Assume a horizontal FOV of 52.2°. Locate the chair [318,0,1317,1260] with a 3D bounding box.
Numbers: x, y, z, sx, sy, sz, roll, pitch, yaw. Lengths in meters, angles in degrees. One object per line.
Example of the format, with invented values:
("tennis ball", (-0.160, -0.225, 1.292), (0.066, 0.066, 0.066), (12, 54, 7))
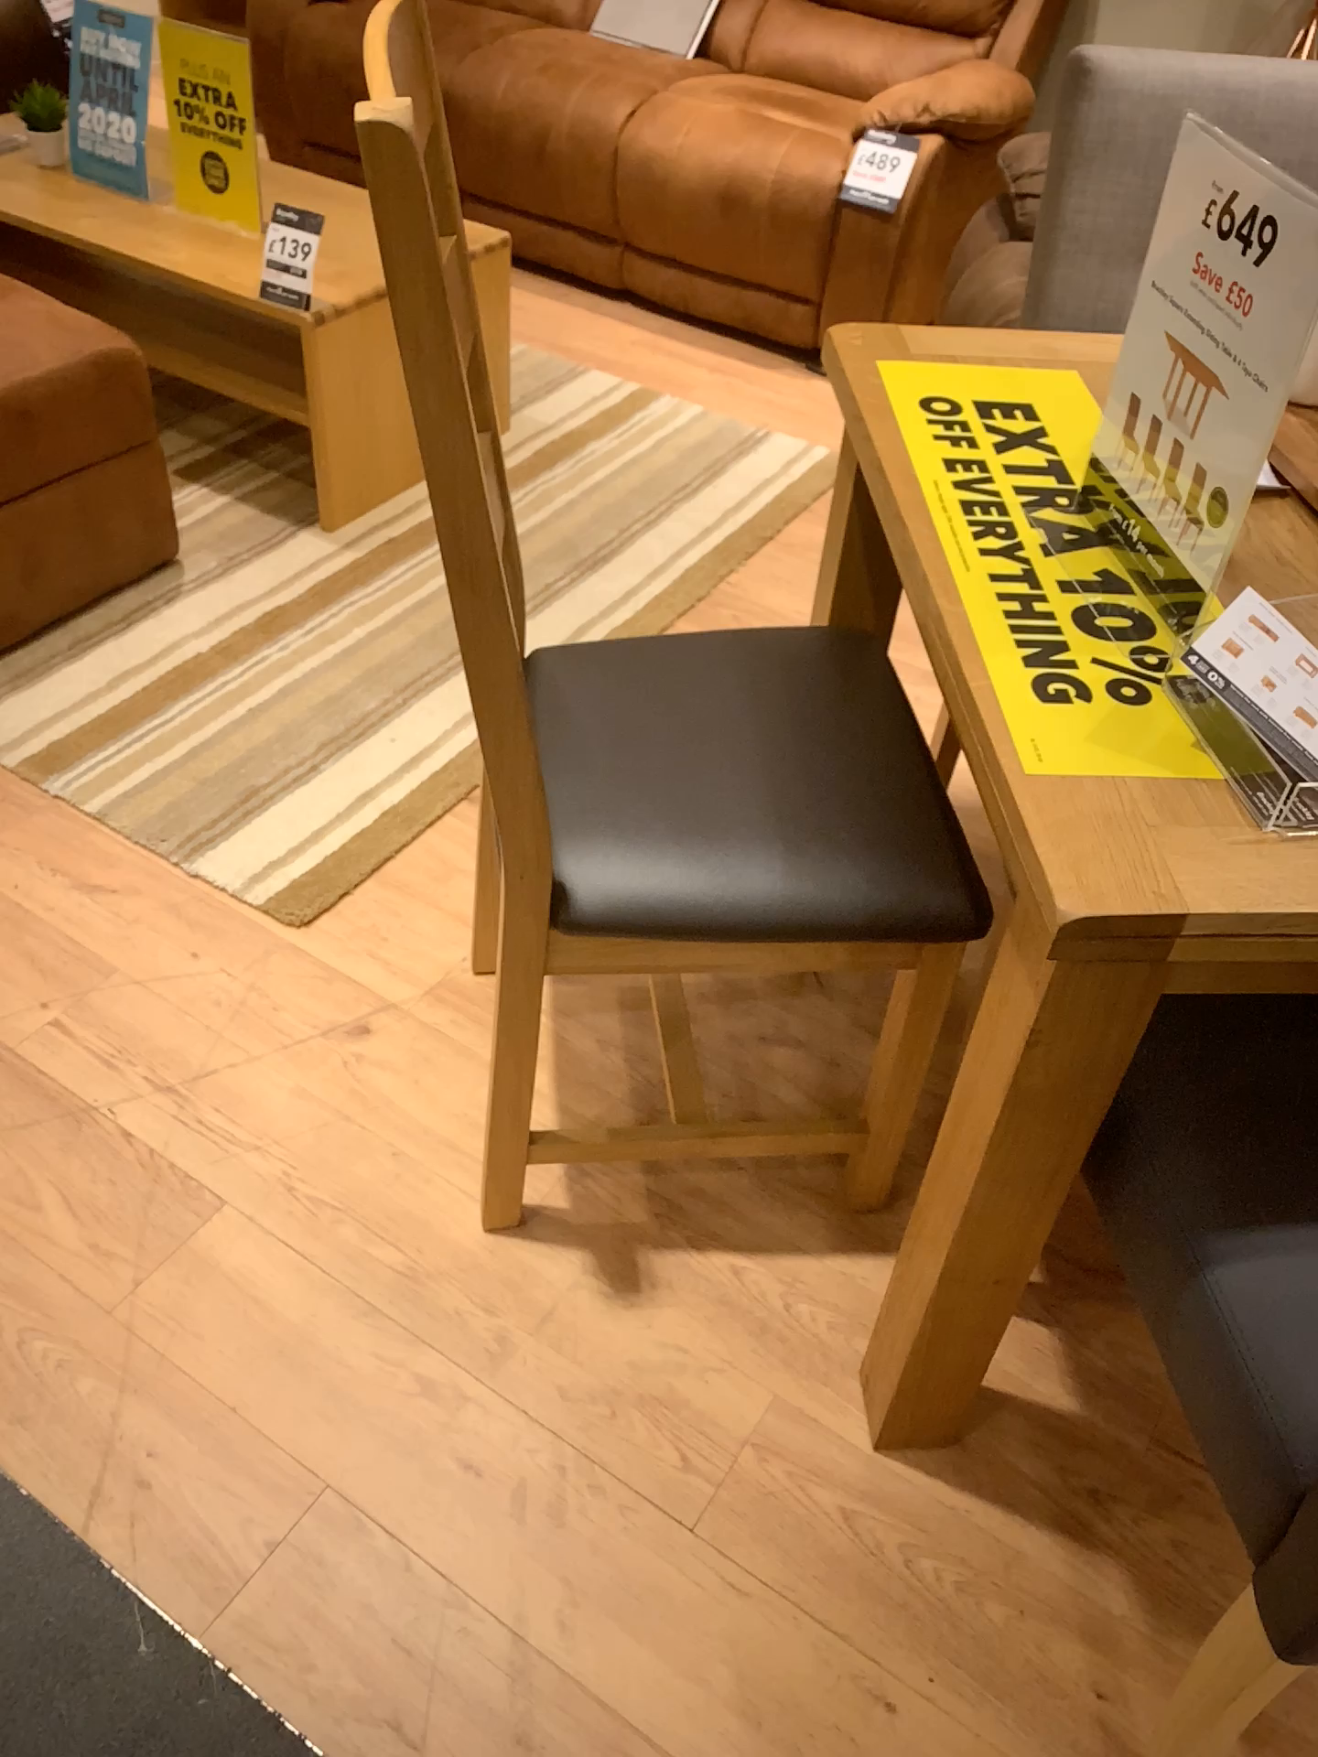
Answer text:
("chair", (0.041, -0.159, 1.270), (0.550, 1.100, 0.474), (0, 43, -6))
